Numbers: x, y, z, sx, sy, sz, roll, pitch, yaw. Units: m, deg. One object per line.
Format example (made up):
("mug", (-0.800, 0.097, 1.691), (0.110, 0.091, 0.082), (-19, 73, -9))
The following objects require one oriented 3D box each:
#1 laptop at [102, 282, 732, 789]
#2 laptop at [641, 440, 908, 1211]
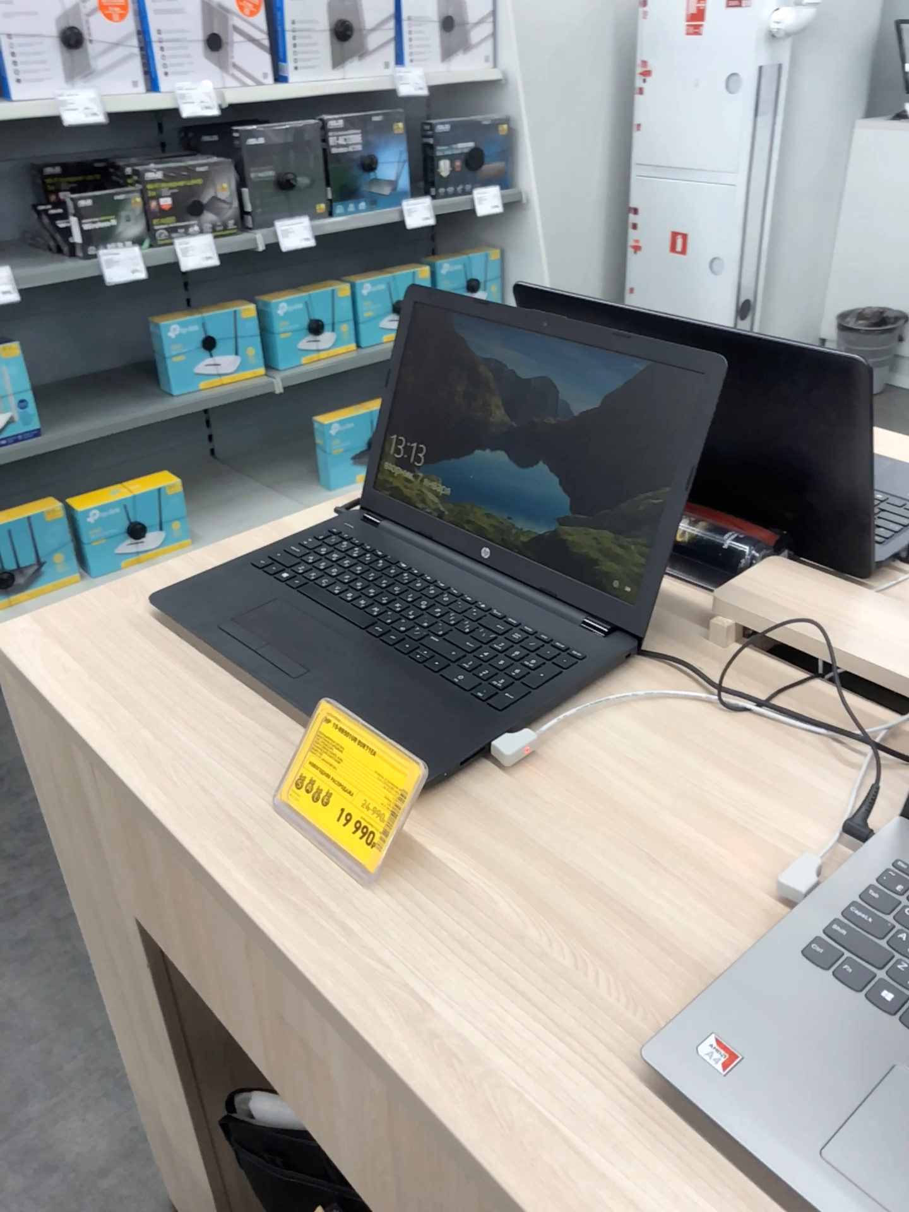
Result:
("laptop", (-0.035, -0.102, 0.848), (0.342, 0.217, 0.377), (-27, 38, -34))
("laptop", (0.340, 0.131, 0.403), (0.339, 0.226, 0.371), (-24, 35, -31))
